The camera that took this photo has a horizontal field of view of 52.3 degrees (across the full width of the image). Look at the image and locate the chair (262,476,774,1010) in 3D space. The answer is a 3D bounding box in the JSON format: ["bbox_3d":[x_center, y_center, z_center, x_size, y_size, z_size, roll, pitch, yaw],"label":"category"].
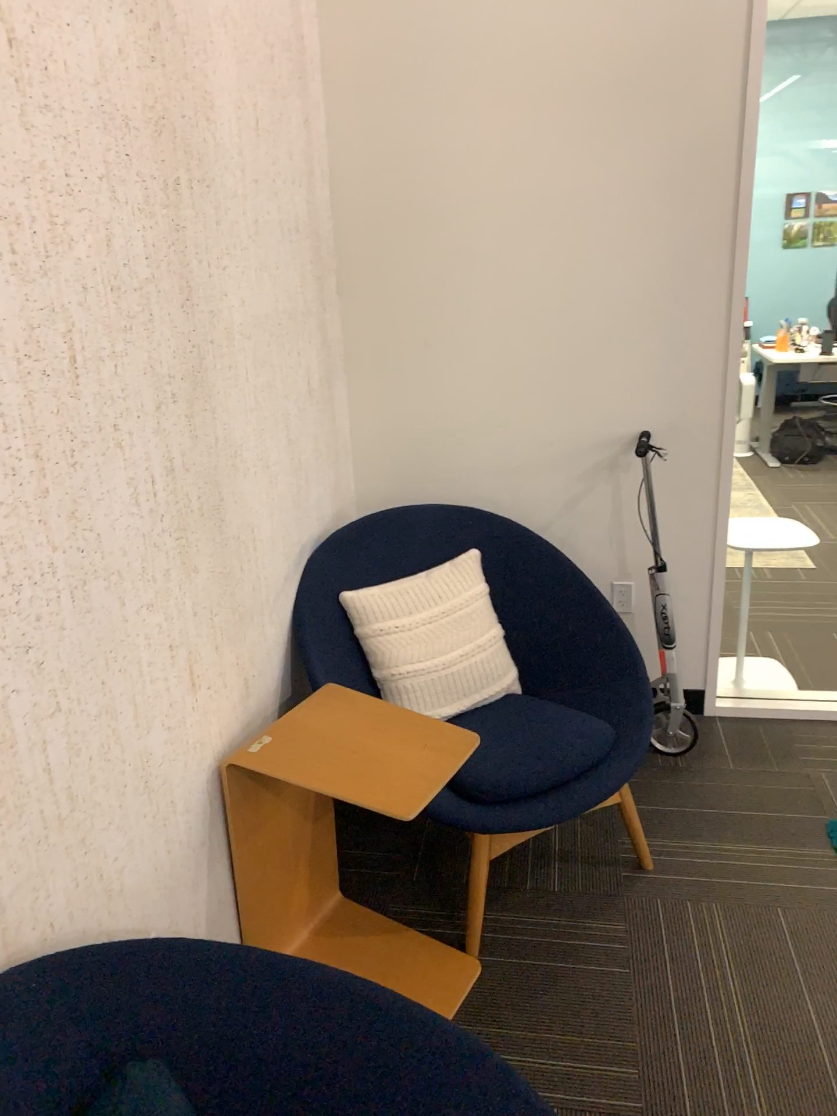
[{"bbox_3d":[0.223,0.345,2.220,0.890,0.816,0.884,-15,23,-29],"label":"chair"}]
